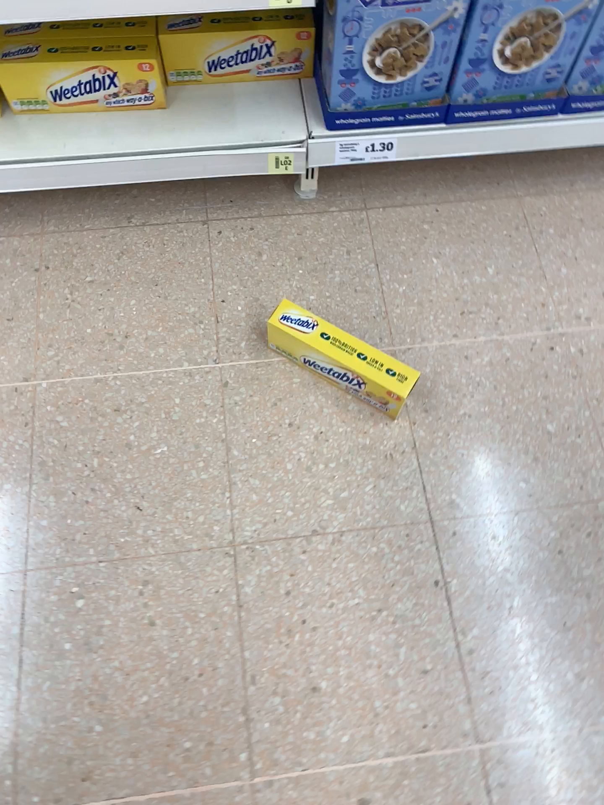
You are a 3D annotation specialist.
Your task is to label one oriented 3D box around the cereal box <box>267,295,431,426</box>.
[{"bbox_3d":[0.068,-0.065,0.978,0.260,0.100,0.050,31,69,11],"label":"cereal box"}]
